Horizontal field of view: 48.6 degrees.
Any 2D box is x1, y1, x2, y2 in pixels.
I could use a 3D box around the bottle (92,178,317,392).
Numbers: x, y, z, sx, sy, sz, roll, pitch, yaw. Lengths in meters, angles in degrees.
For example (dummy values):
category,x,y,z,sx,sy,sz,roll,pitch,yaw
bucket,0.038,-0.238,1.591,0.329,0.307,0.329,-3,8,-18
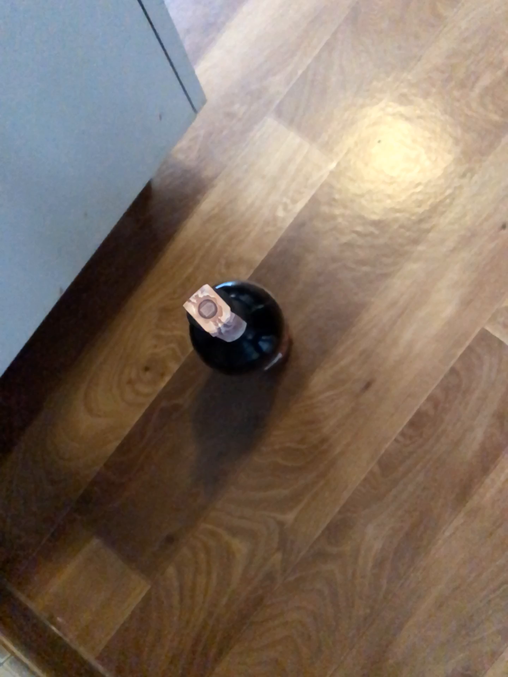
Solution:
category,x,y,z,sx,sy,sz,roll,pitch,yaw
bottle,-0.014,-0.023,0.478,0.090,0.299,0.090,0,86,8
